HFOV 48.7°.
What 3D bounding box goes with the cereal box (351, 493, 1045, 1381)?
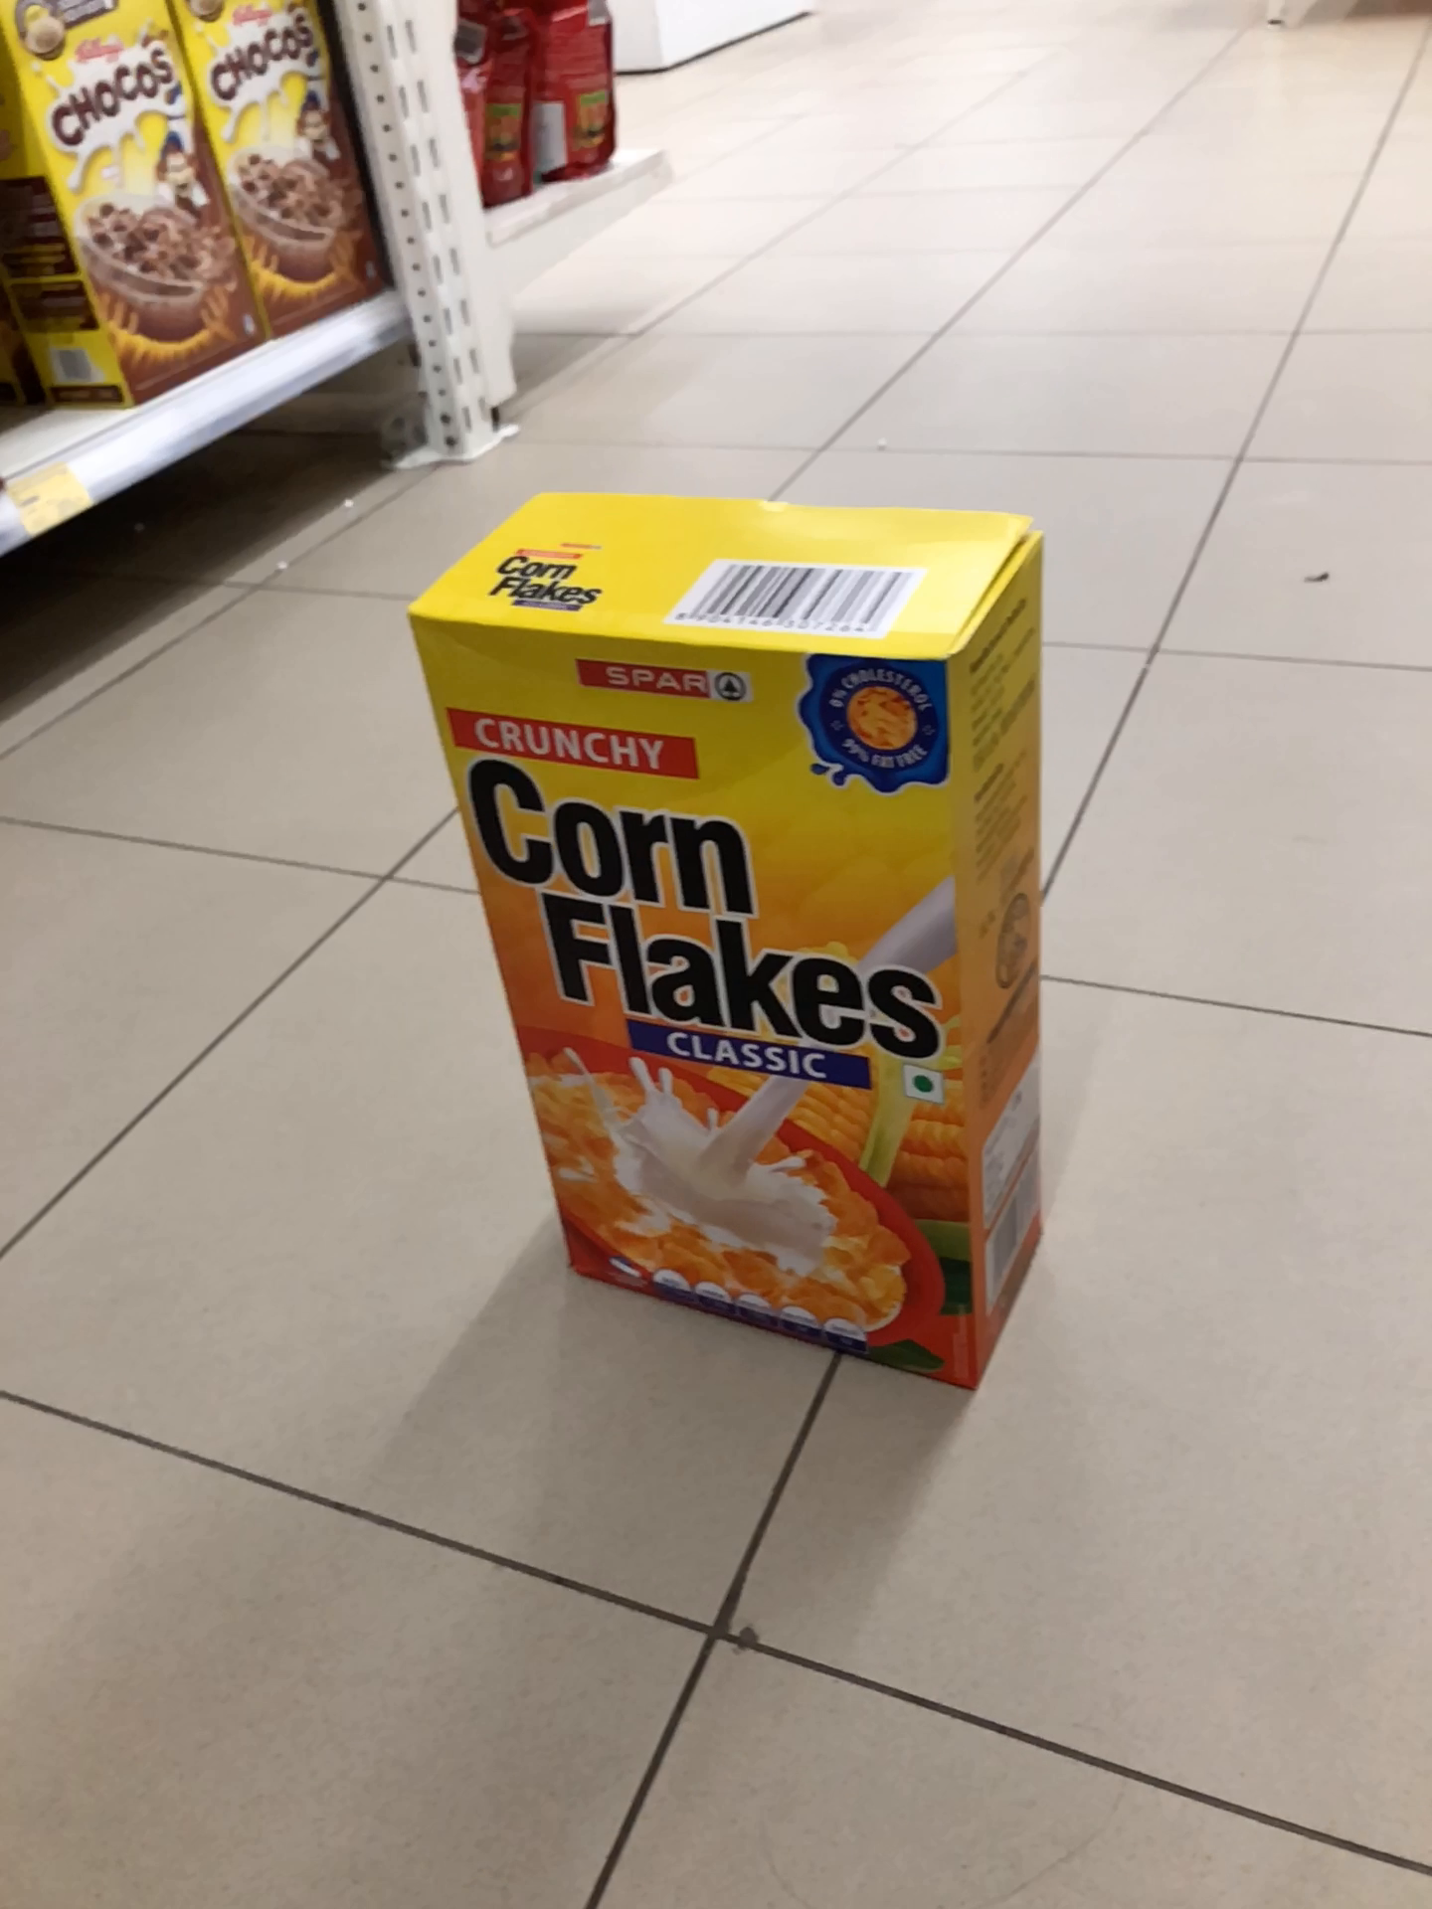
[{"bbox_3d":[0.011,-0.005,0.591,0.200,0.298,0.101,10,38,24],"label":"cereal box"}]
